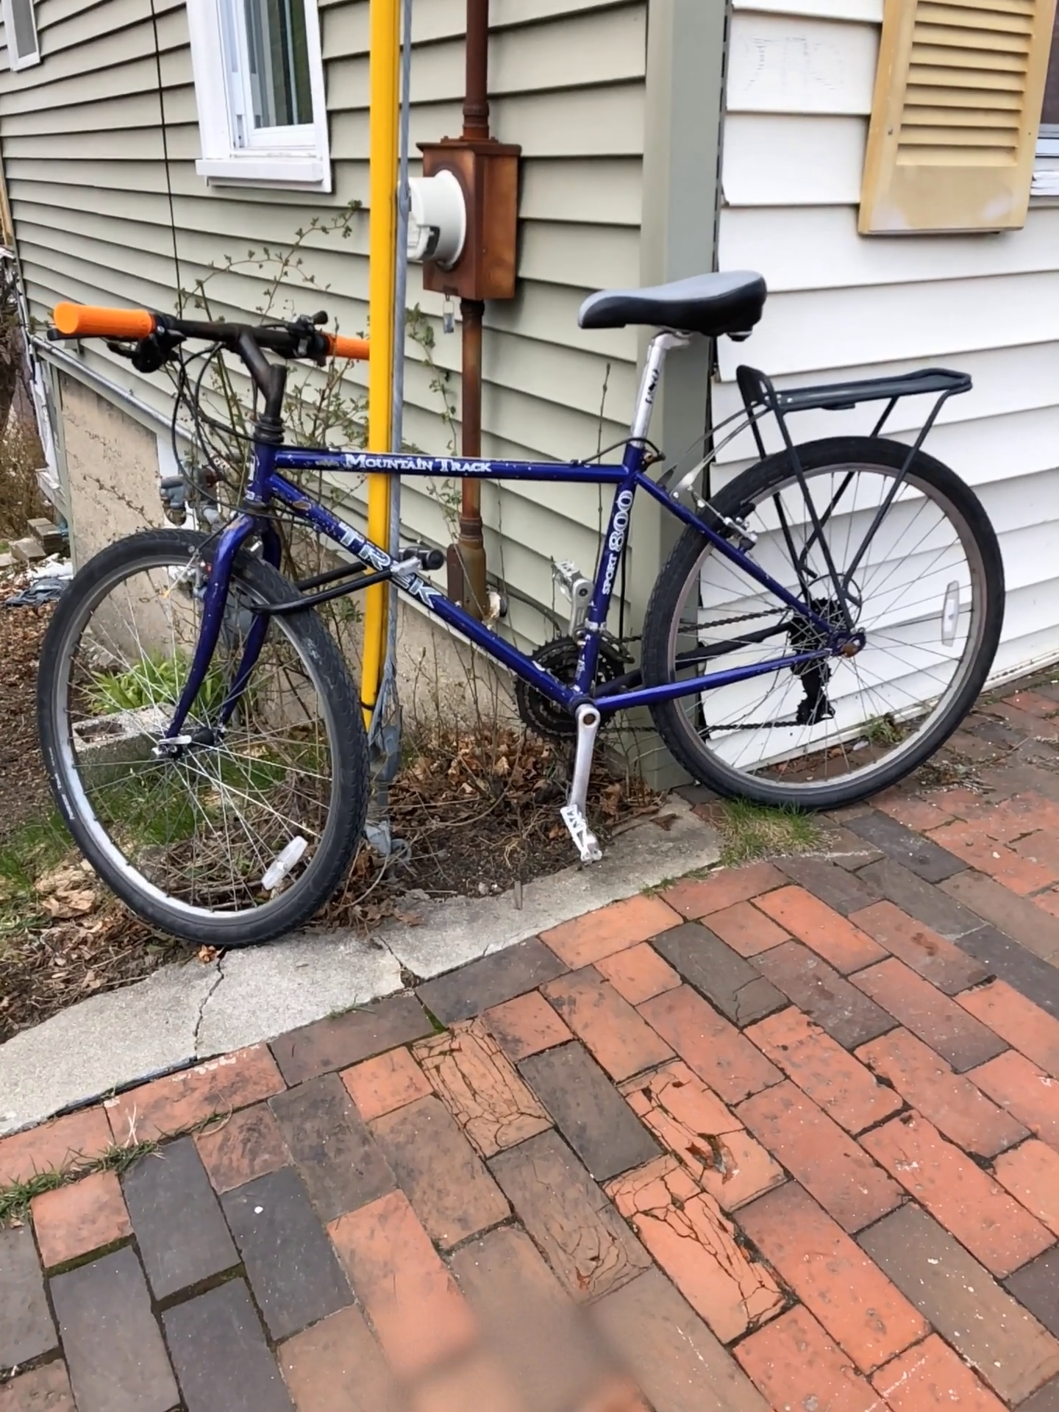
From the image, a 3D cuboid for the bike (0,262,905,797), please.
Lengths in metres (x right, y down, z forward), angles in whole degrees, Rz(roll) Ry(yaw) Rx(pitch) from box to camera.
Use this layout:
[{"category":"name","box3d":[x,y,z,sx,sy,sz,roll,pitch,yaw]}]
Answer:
[{"category":"bike","box3d":[-0.179,-0.289,1.796,1.146,0.690,0.515,-1,25,0]}]
